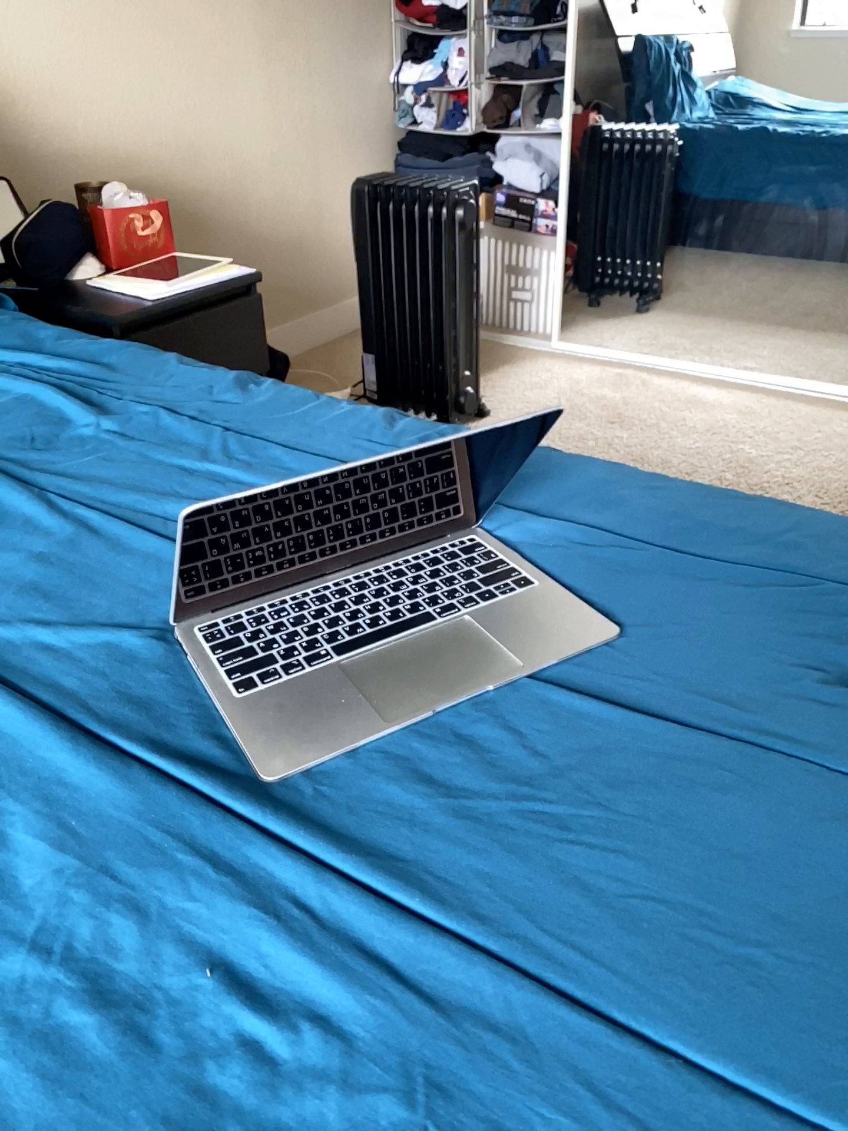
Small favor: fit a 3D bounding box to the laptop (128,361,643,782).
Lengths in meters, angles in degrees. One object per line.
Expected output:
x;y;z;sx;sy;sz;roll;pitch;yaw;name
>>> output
-0.030;-0.020;0.649;0.295;0.161;0.216;-19;34;-24;laptop
